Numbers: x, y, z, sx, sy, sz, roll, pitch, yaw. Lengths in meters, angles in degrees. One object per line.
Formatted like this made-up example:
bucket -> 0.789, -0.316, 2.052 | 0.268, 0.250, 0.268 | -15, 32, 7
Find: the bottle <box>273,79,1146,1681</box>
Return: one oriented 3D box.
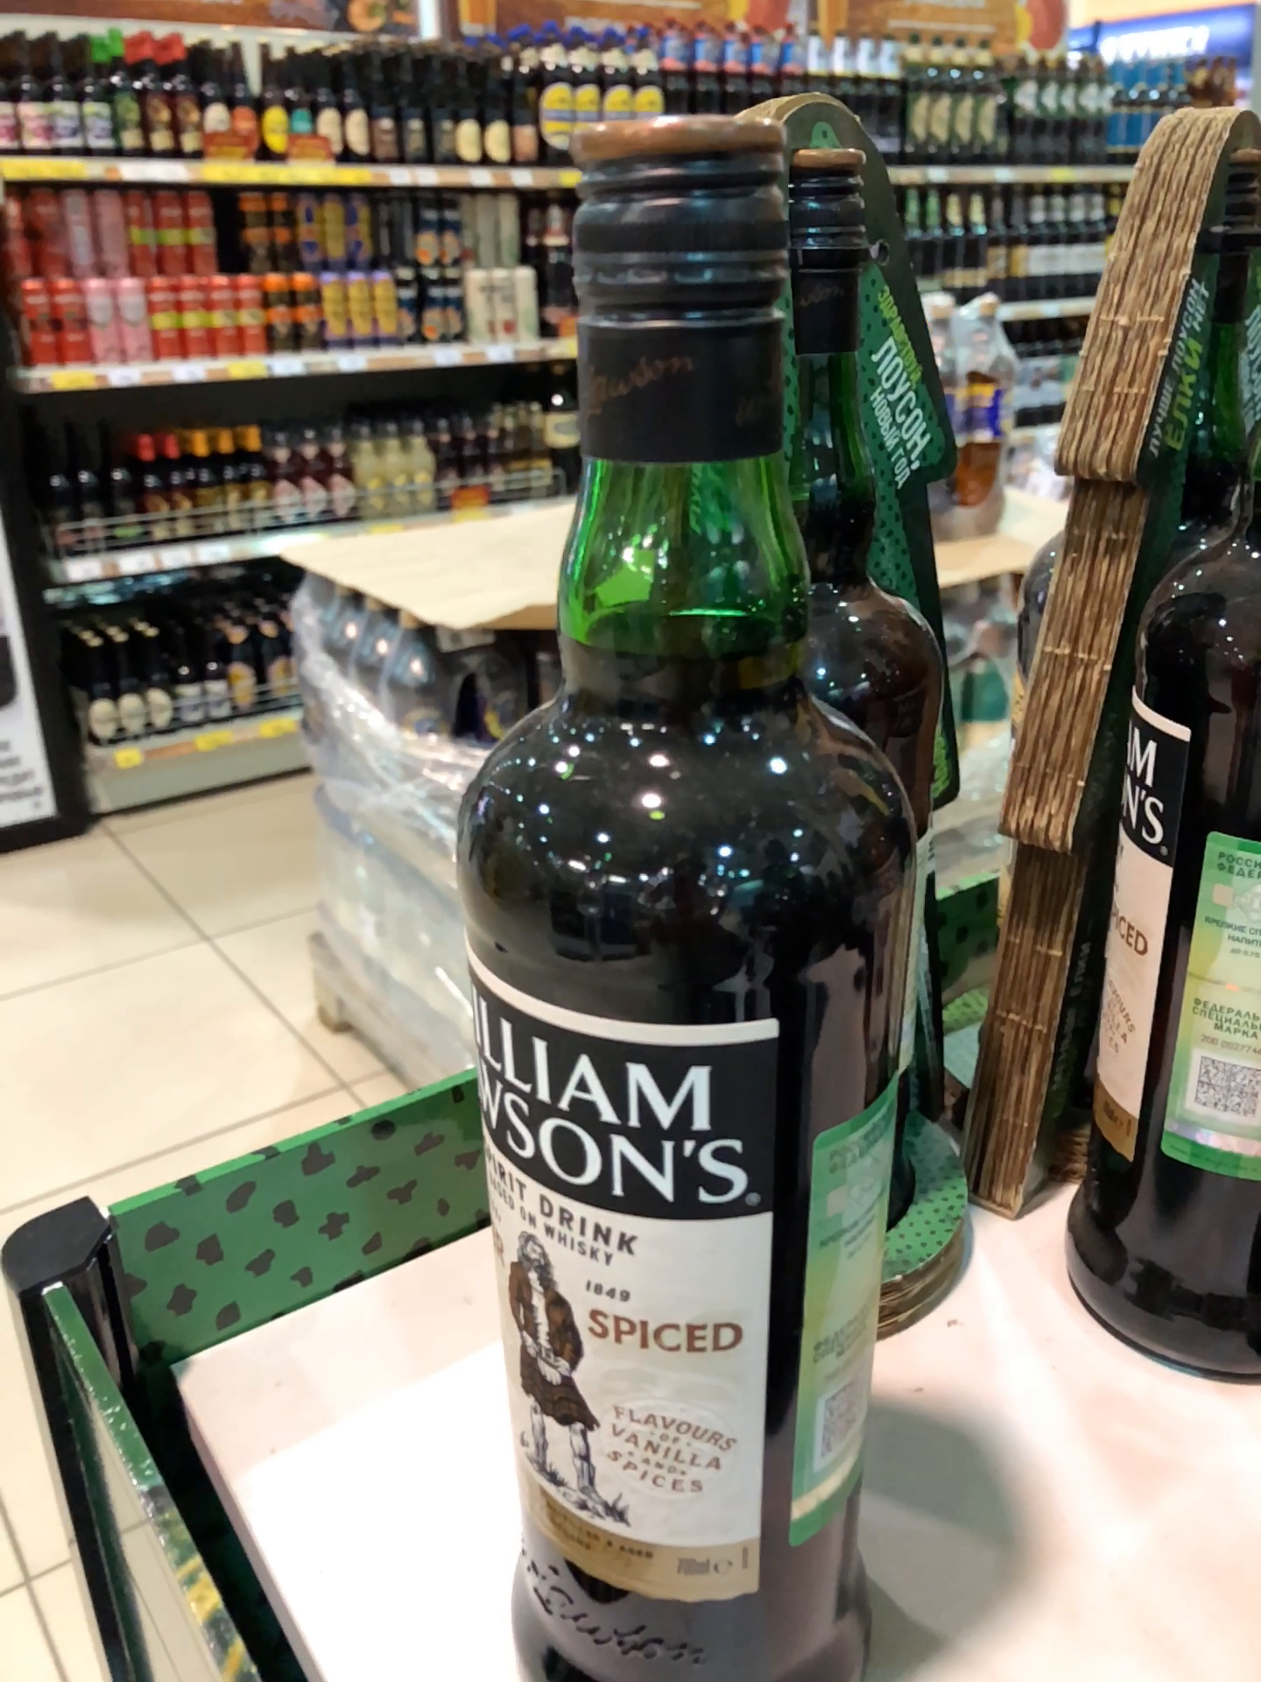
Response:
bottle -> 0.014, 0.038, 0.250 | 0.090, 0.298, 0.080 | -20, 29, -38
